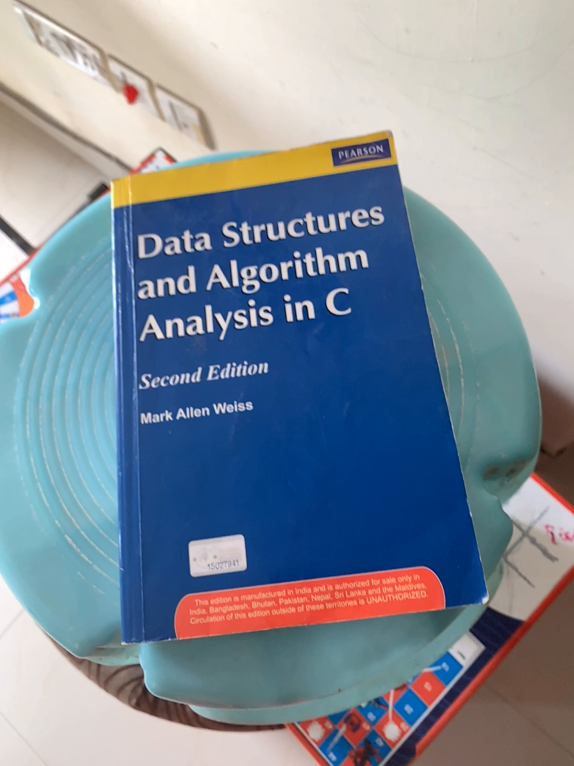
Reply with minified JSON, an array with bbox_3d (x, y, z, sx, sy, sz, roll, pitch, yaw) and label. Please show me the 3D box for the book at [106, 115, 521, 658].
[{"bbox_3d":[-0.001,-0.010,0.289,0.160,0.030,0.241,-8,71,3],"label":"book"}]
